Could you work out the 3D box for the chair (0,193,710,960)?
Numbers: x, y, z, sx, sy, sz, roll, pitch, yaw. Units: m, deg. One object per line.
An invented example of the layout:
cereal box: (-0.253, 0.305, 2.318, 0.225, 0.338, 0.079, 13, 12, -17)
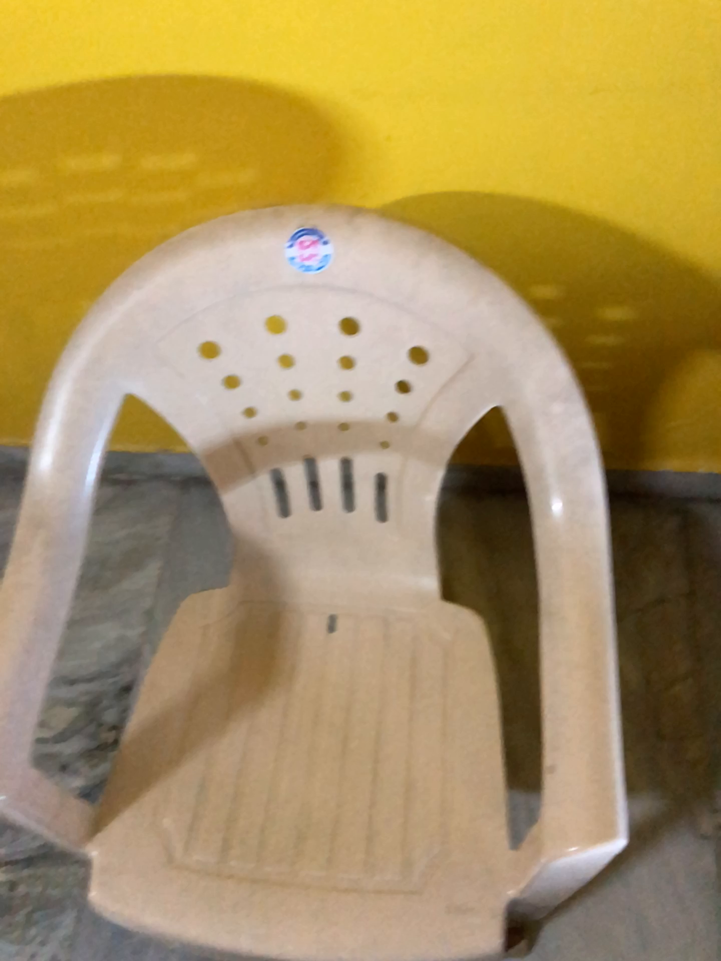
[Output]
chair: (-0.053, 0.207, 0.840, 0.530, 0.787, 0.562, 2, 62, 7)
